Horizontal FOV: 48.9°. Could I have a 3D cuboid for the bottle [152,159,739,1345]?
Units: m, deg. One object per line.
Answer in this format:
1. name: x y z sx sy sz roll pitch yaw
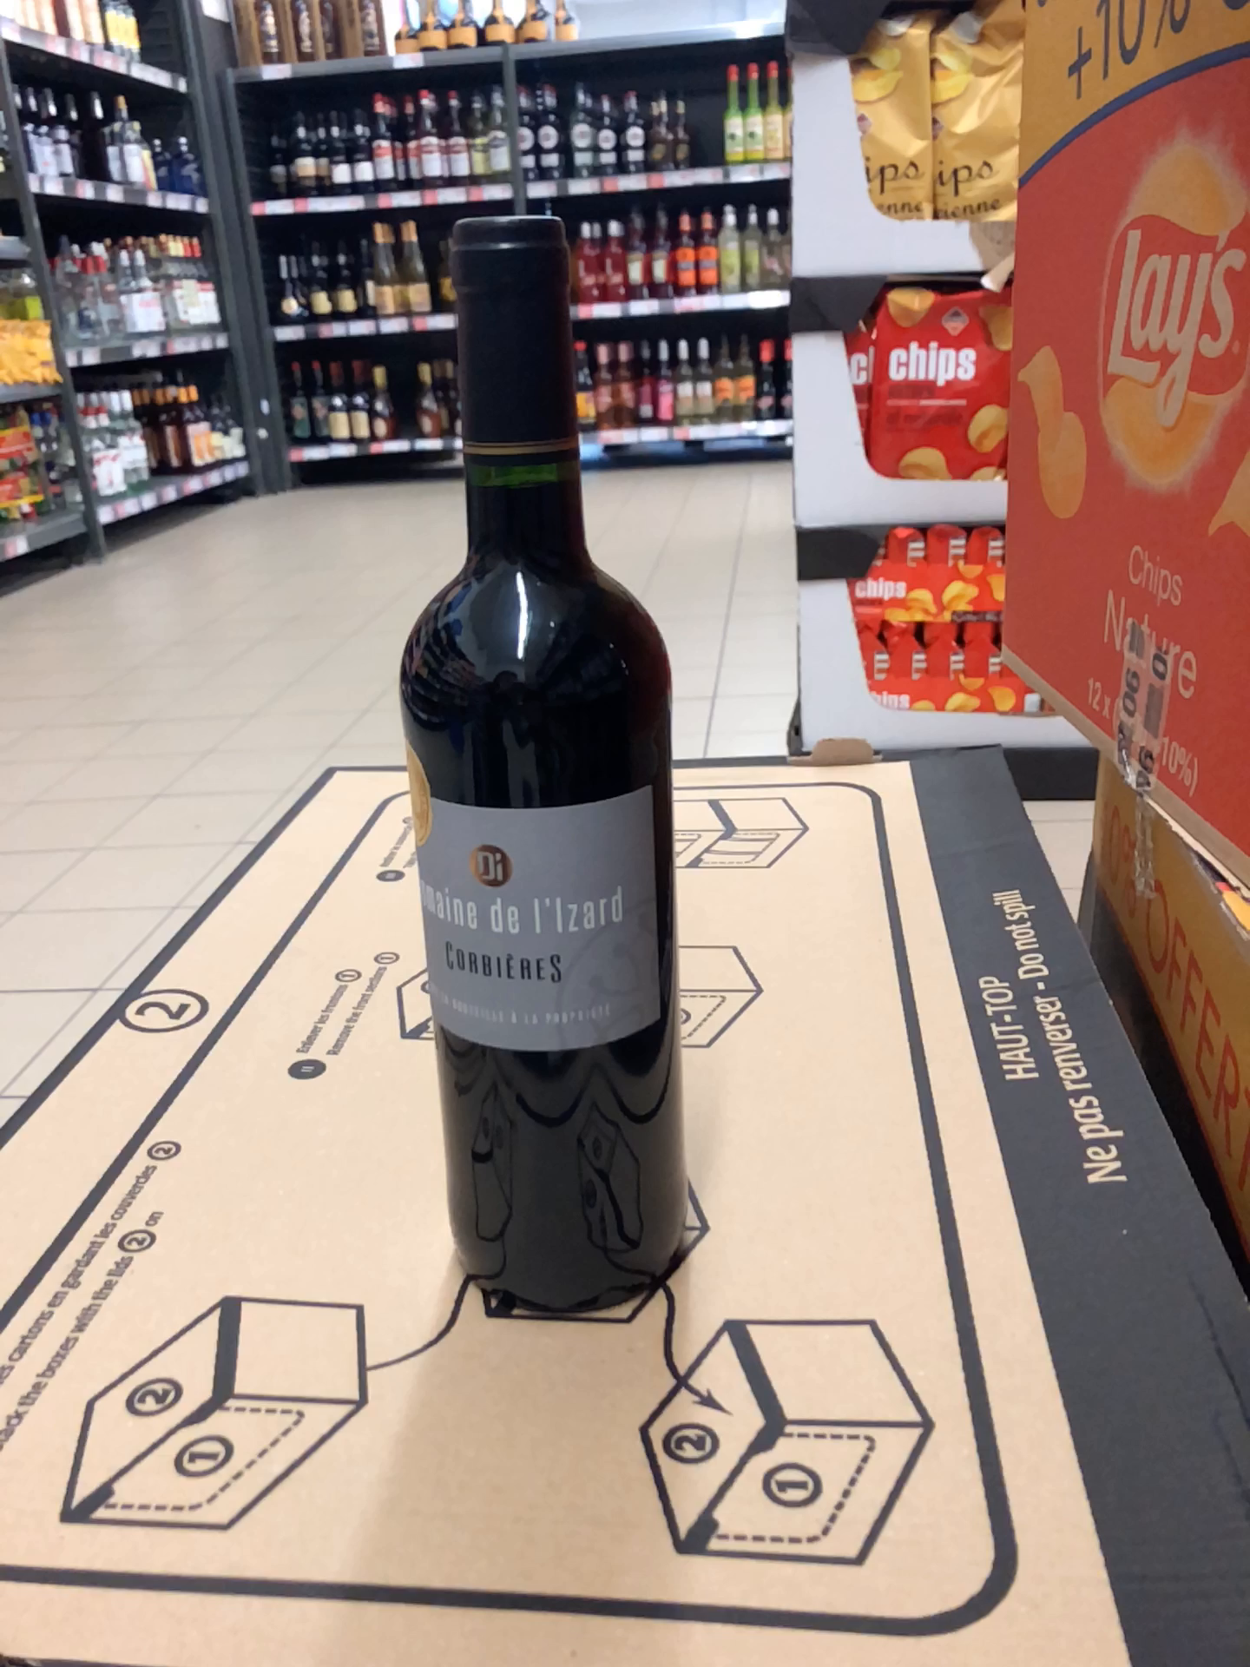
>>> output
1. bottle: -0.033 -0.018 0.364 0.090 0.279 0.091 -4 21 1
